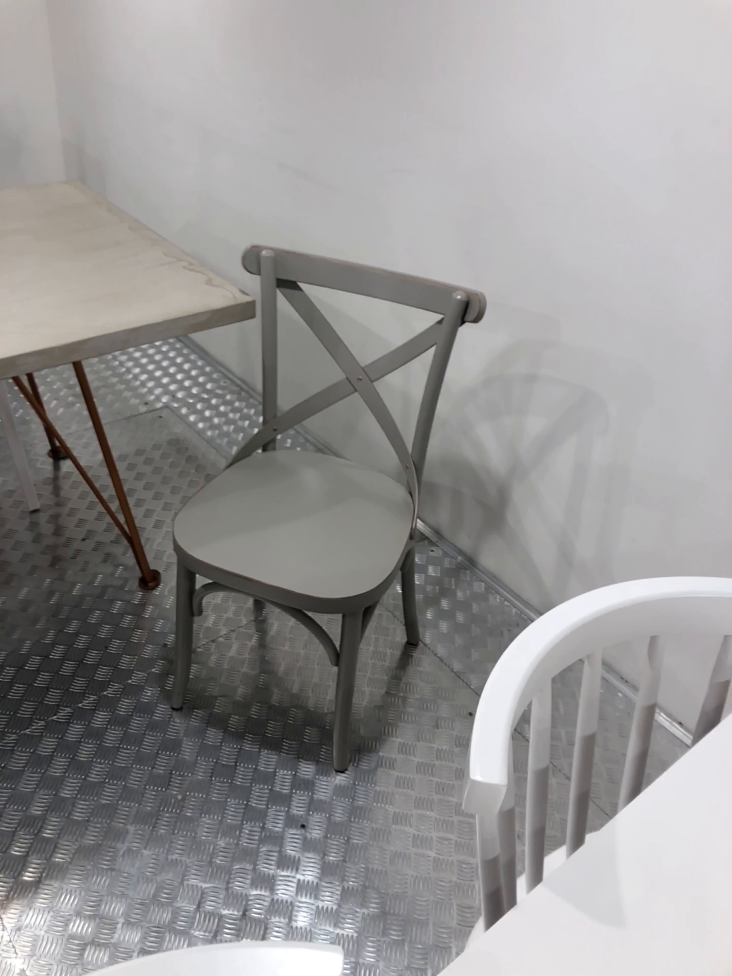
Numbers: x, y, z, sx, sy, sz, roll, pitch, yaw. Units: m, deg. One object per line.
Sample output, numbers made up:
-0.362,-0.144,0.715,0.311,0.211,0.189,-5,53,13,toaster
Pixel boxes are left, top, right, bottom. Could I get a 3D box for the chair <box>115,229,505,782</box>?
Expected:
-0.099,0.035,1.639,0.510,0.893,0.504,15,36,14,chair
